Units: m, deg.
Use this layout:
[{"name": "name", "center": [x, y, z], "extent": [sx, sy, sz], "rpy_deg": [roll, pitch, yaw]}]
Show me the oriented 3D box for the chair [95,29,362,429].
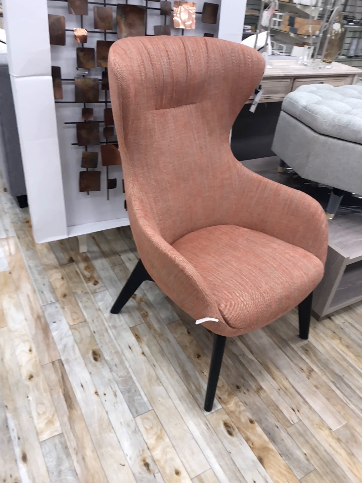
[{"name": "chair", "center": [0.201, -0.110, 1.439], "extent": [0.691, 1.065, 0.752], "rpy_deg": [-21, 43, -35]}]
